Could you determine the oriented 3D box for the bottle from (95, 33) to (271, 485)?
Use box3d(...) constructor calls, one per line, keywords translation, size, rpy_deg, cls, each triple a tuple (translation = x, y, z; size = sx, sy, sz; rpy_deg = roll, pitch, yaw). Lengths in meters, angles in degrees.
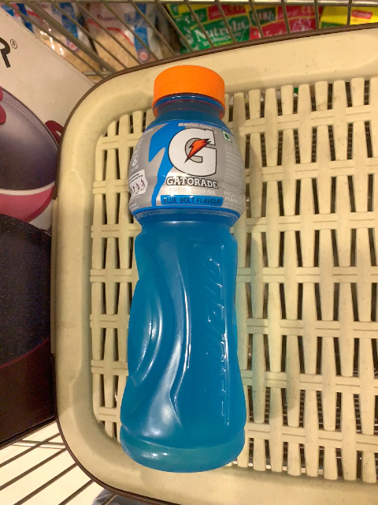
box3d(translation=(-0.002, 0.002, 0.213), size=(0.080, 0.060, 0.210), rpy_deg=(1, 88, 1), cls="bottle")
